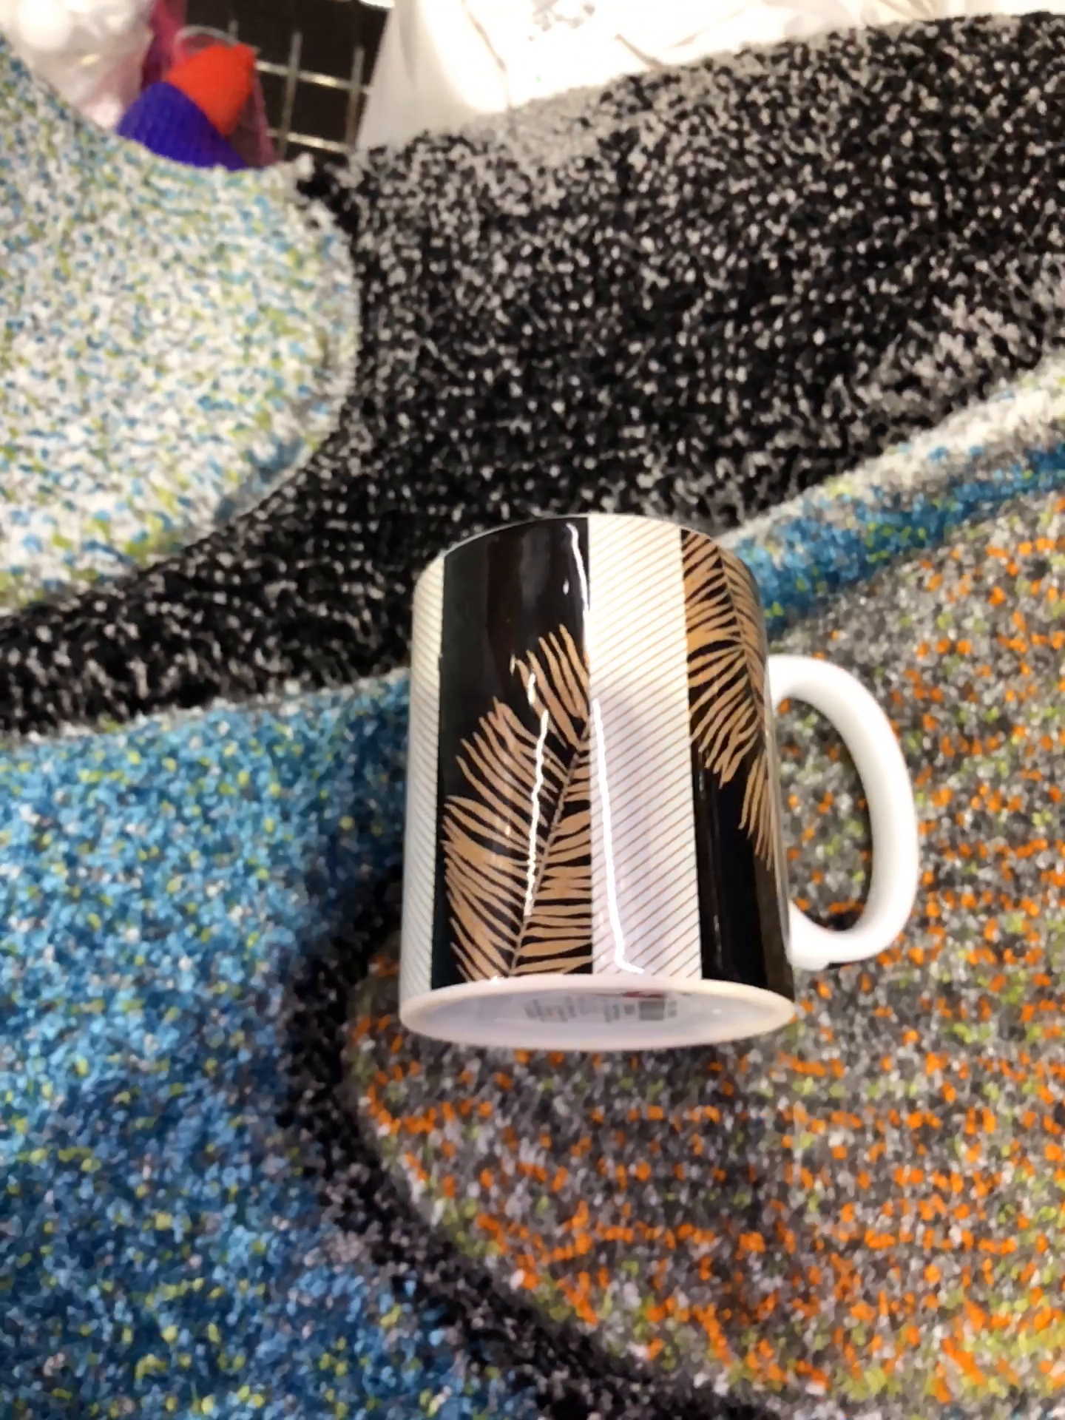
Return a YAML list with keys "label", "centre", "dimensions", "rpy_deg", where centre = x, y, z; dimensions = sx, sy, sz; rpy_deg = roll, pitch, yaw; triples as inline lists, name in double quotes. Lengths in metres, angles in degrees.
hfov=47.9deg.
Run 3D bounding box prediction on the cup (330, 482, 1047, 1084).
- label: "cup"
  centre: [0.025, 0.023, 0.252]
  dimensions: [0.120, 0.070, 0.100]
  rpy_deg: [6, 67, -19]
